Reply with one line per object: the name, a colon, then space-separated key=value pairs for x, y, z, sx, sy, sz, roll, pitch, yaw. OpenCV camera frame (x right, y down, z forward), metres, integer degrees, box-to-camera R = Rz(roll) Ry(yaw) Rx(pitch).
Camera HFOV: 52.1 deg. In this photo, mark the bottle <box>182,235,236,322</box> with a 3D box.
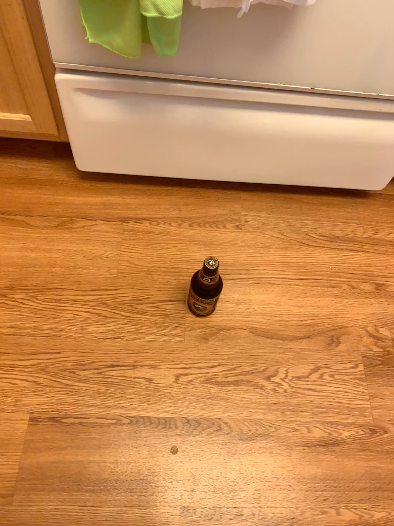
bottle: x=0.017 y=0.037 z=0.752 sx=0.060 sy=0.209 sz=0.060 roll=2 pitch=61 yaw=-5
